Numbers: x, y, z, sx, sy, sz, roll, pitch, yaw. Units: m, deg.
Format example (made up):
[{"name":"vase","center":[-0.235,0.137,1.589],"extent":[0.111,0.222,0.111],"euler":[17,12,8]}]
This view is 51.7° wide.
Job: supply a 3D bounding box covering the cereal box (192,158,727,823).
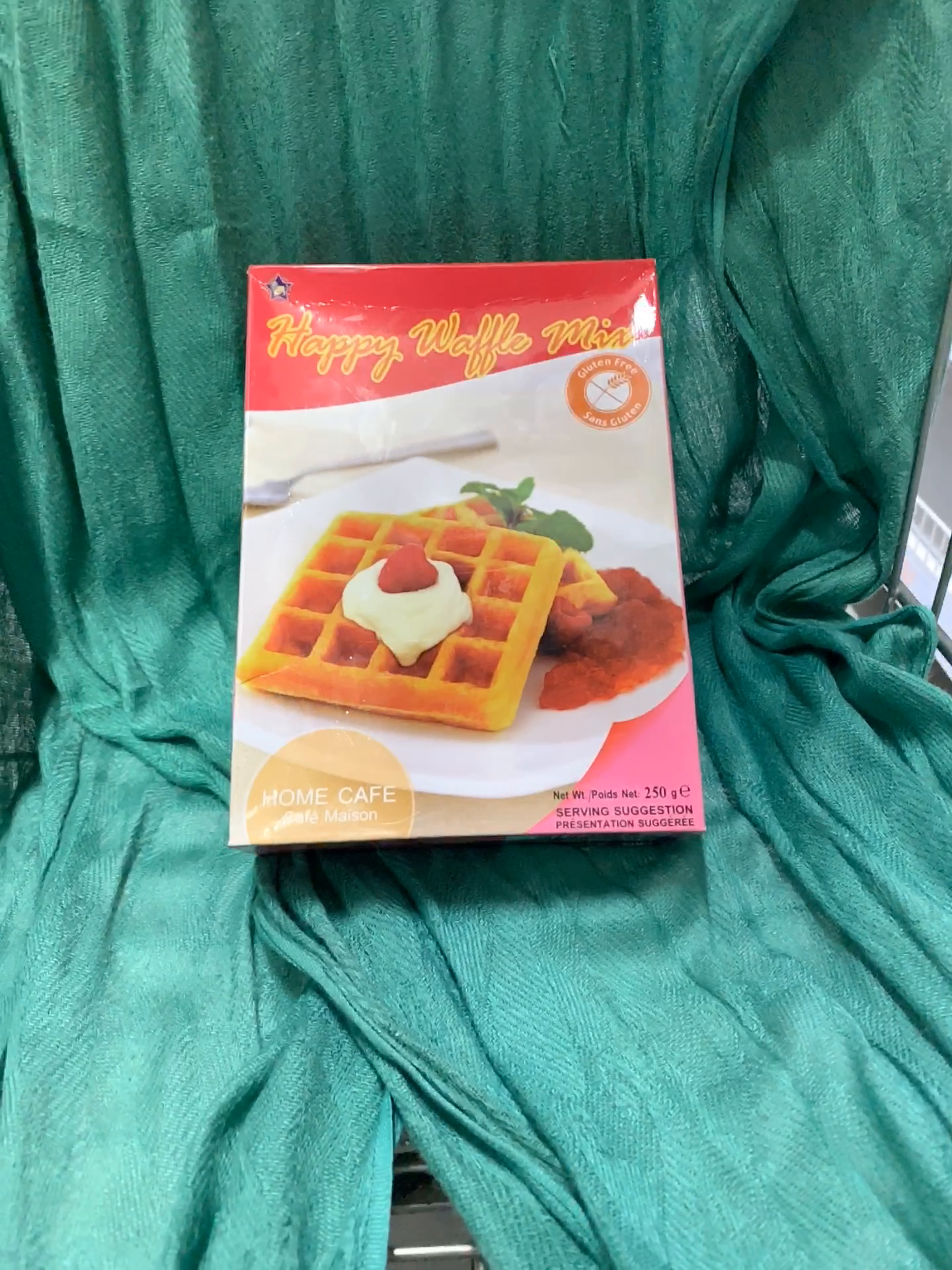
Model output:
[{"name":"cereal box","center":[-0.007,-0.041,0.284],"extent":[0.130,0.180,0.050],"euler":[-2,-13,0]}]
